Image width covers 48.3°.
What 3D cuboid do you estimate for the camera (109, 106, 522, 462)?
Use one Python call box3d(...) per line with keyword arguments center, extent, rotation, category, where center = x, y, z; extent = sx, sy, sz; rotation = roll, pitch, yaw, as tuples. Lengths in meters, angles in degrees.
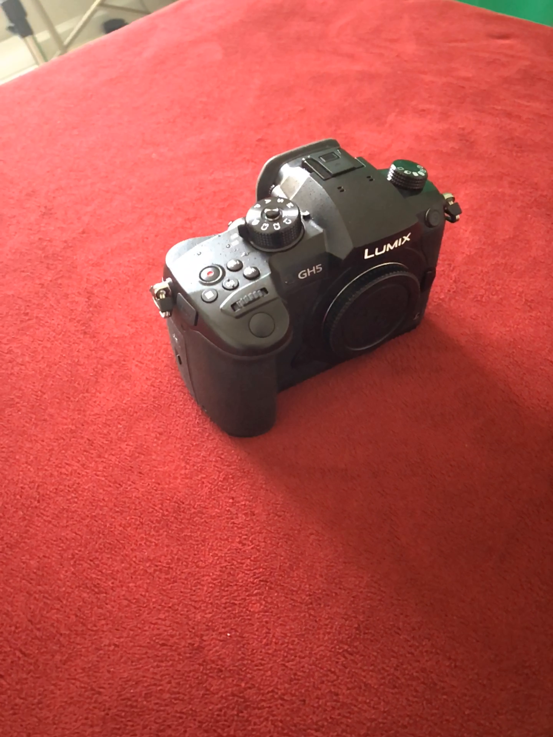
box3d(center=(0.016, -0.043, 0.288), extent=(0.148, 0.087, 0.086), rotation=(-25, 54, -18), category="camera")
